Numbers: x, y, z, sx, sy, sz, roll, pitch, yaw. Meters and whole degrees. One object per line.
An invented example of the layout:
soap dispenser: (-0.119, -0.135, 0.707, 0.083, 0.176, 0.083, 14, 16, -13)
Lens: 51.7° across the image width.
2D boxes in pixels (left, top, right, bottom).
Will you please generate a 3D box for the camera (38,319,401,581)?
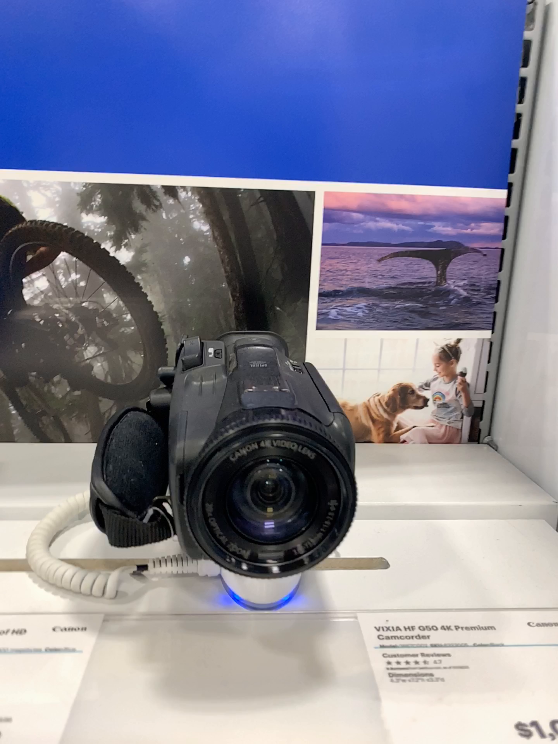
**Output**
camera: (-0.032, 0.023, 0.314, 0.131, 0.069, 0.201, 2, 14, -7)
